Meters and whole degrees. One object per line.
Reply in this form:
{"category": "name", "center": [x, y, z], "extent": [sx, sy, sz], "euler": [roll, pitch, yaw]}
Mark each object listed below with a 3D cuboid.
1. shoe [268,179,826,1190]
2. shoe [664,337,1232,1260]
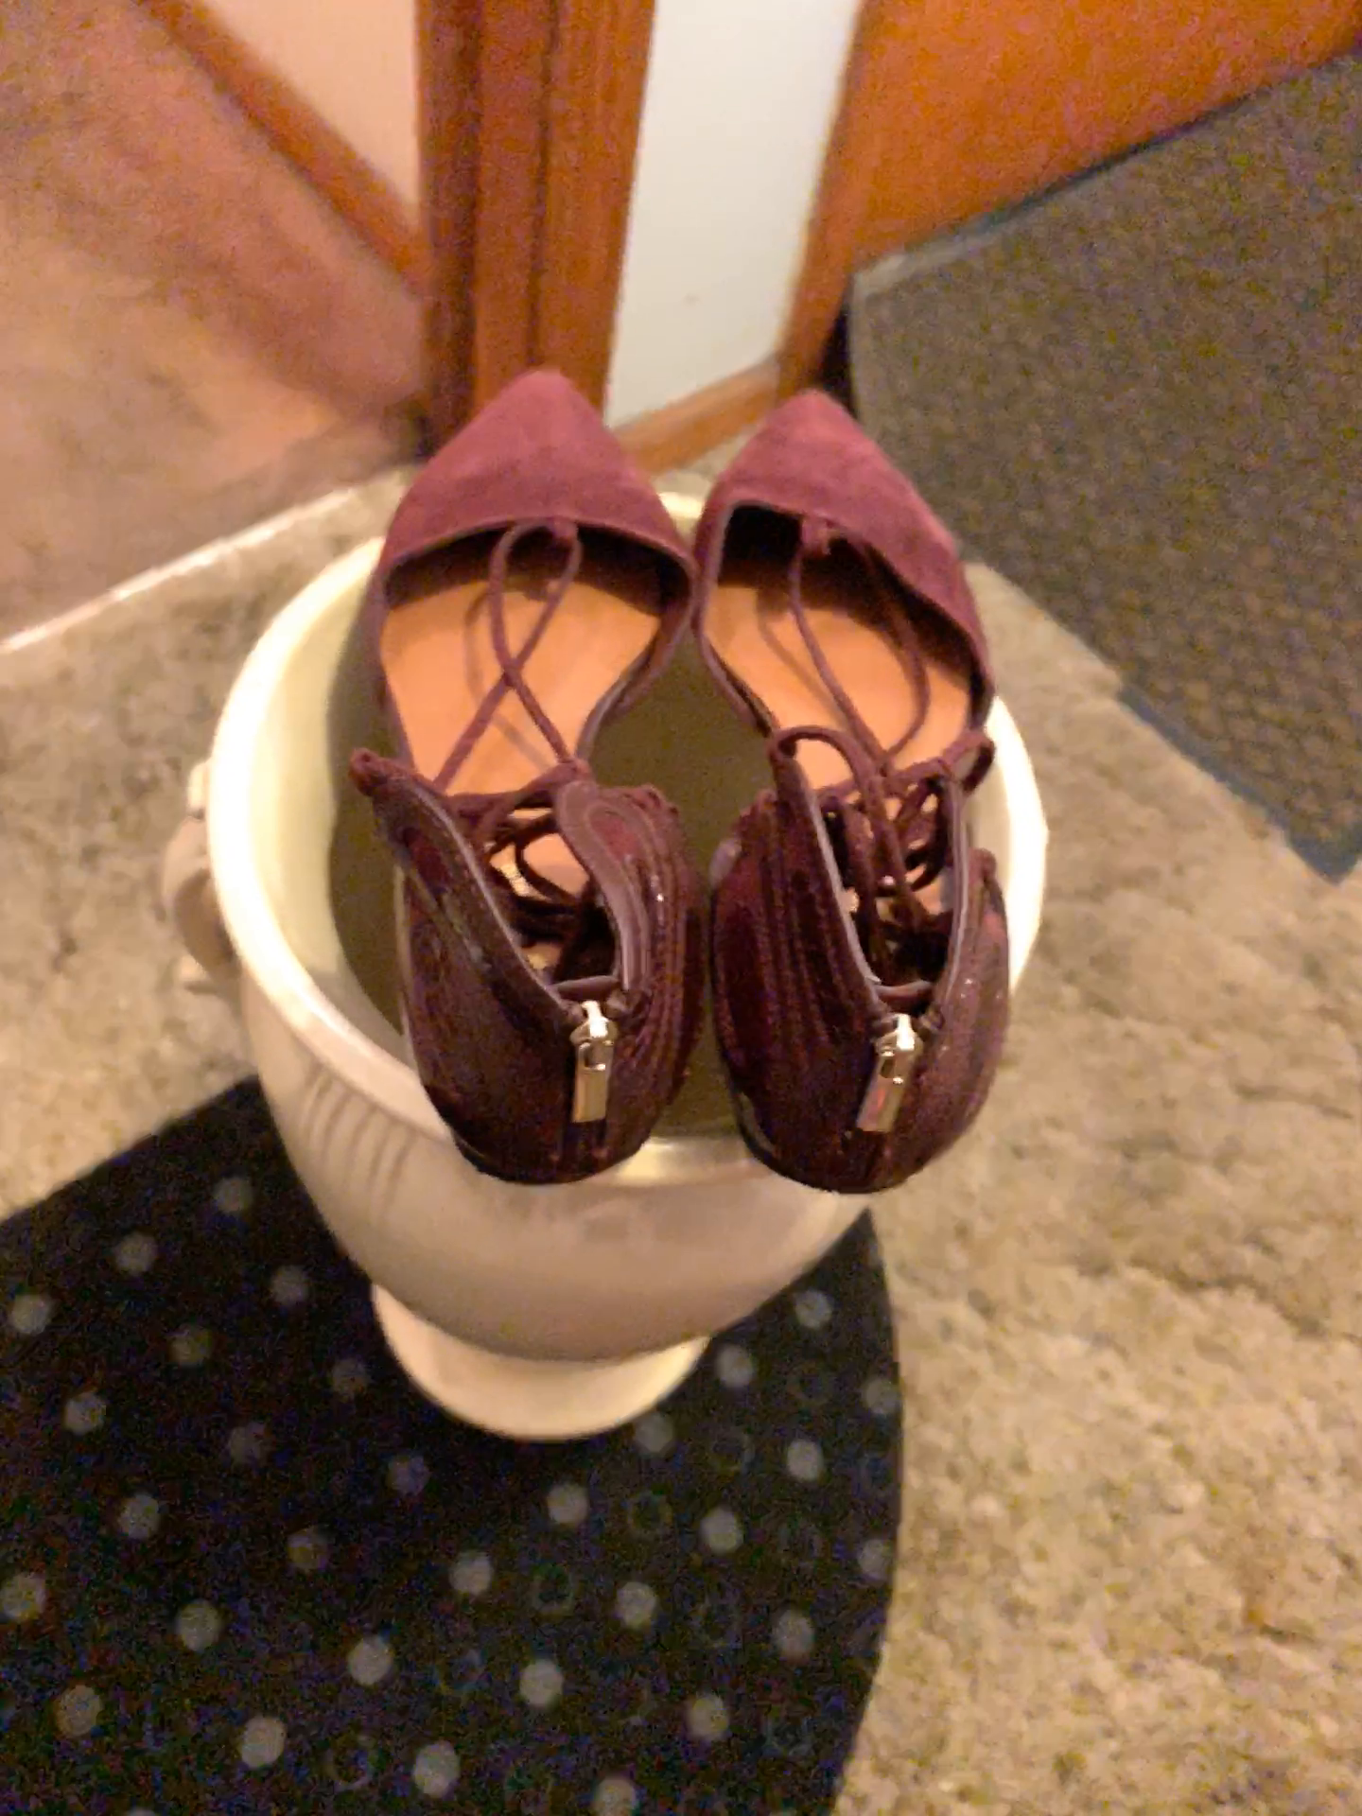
{"category": "shoe", "center": [-0.039, -0.075, 0.347], "extent": [0.090, 0.069, 0.282], "euler": [0, 50, -9]}
{"category": "shoe", "center": [0.045, -0.053, 0.373], "extent": [0.090, 0.069, 0.282], "euler": [6, 43, -6]}
